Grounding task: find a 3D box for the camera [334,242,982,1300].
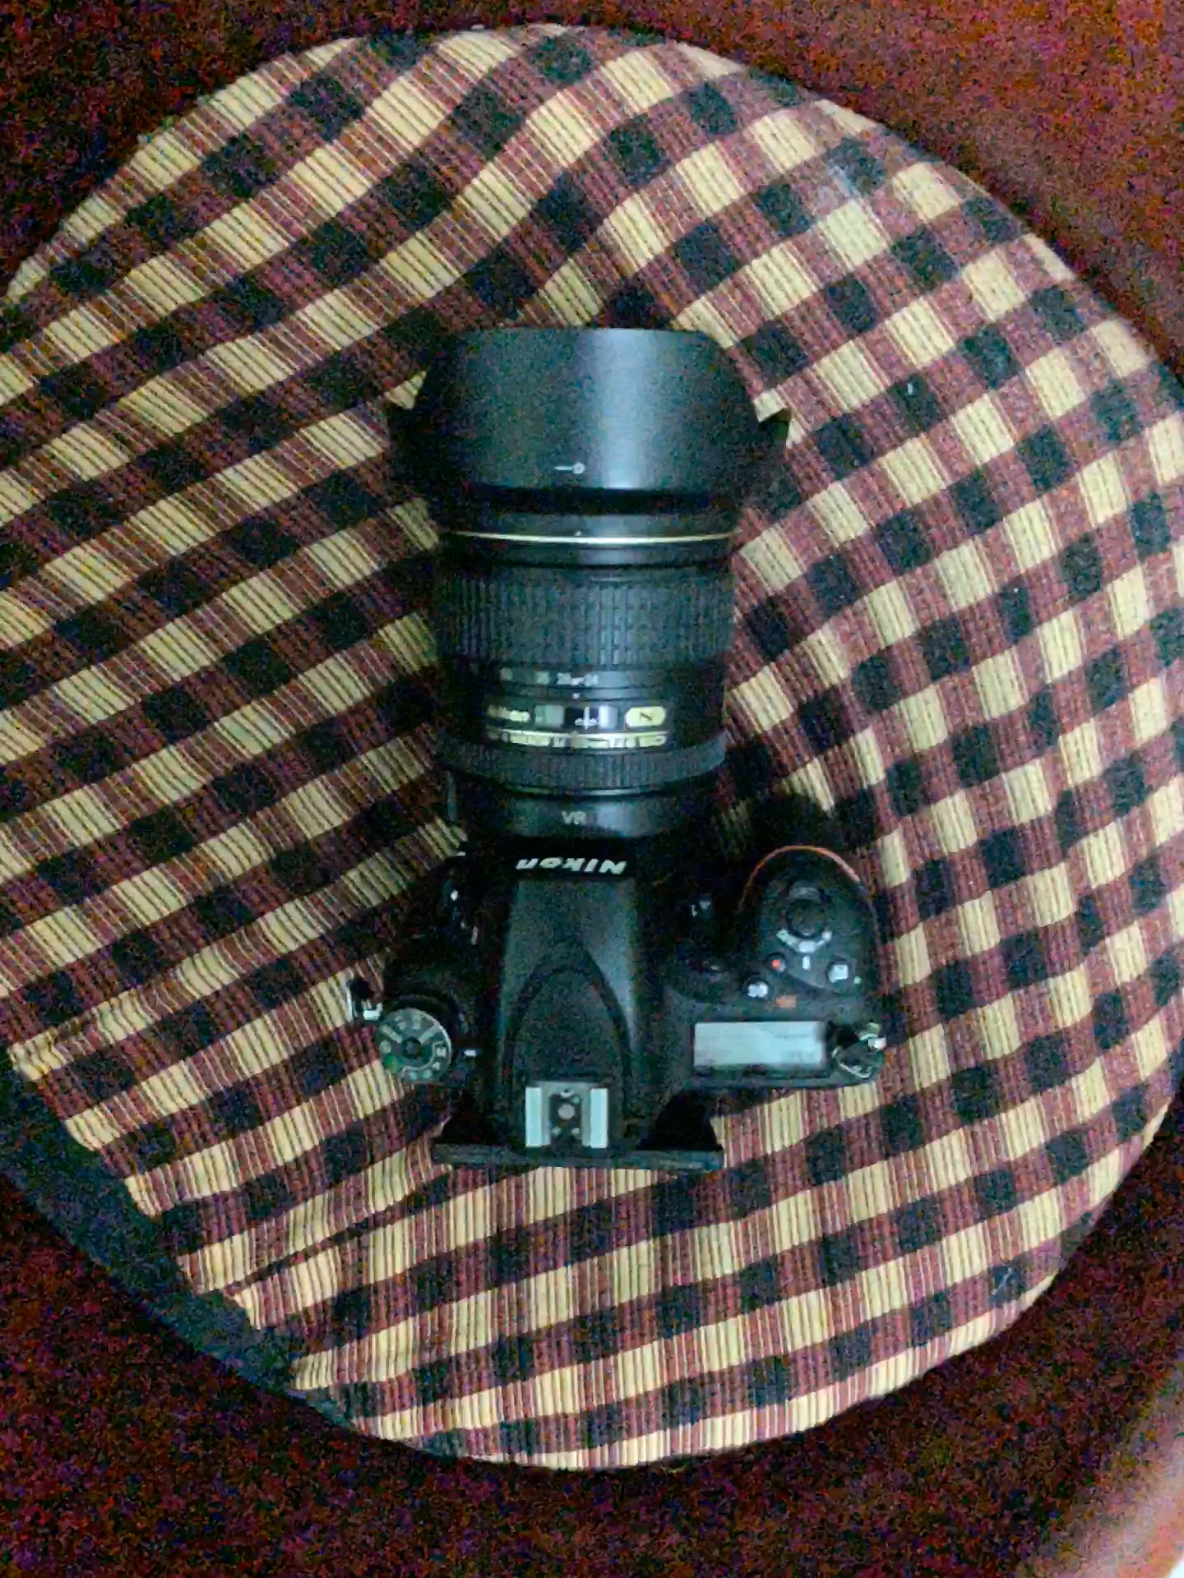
[{"bbox_3d":[0.013,-0.005,0.336,0.140,0.101,0.250,2,101,3],"label":"camera"}]
